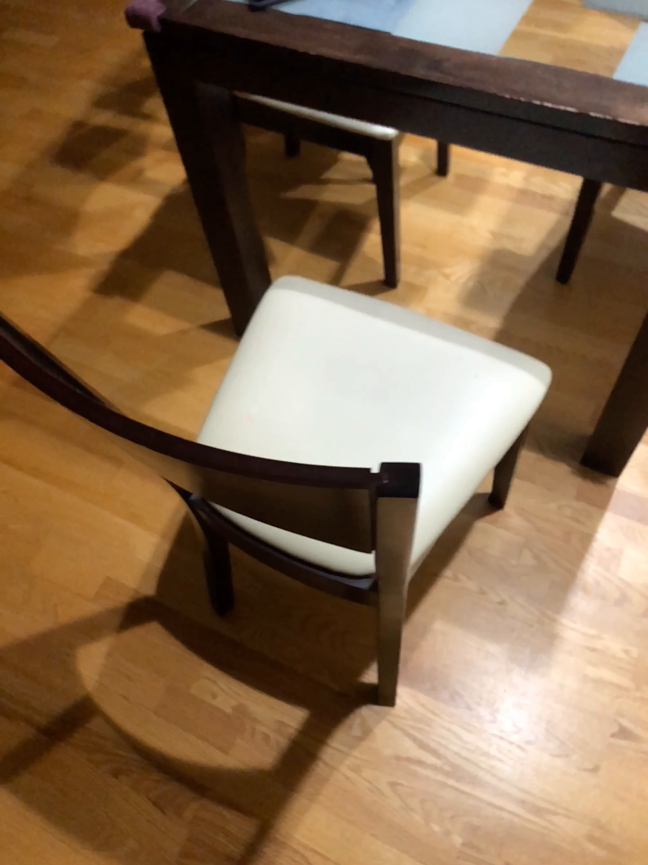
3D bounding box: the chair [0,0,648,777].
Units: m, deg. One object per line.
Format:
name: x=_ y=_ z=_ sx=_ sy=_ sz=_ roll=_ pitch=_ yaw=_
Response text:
chair: x=0.031 y=0.008 z=1.060 sx=0.501 sy=1.006 sz=0.642 roll=19 pitch=61 yaw=17
